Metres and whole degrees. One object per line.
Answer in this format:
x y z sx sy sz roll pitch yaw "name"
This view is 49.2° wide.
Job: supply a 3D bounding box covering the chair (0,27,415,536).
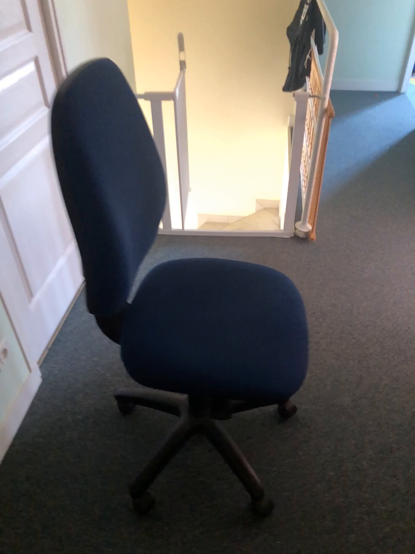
0.005 0.039 1.190 0.670 1.113 0.705 2 38 3 "chair"
